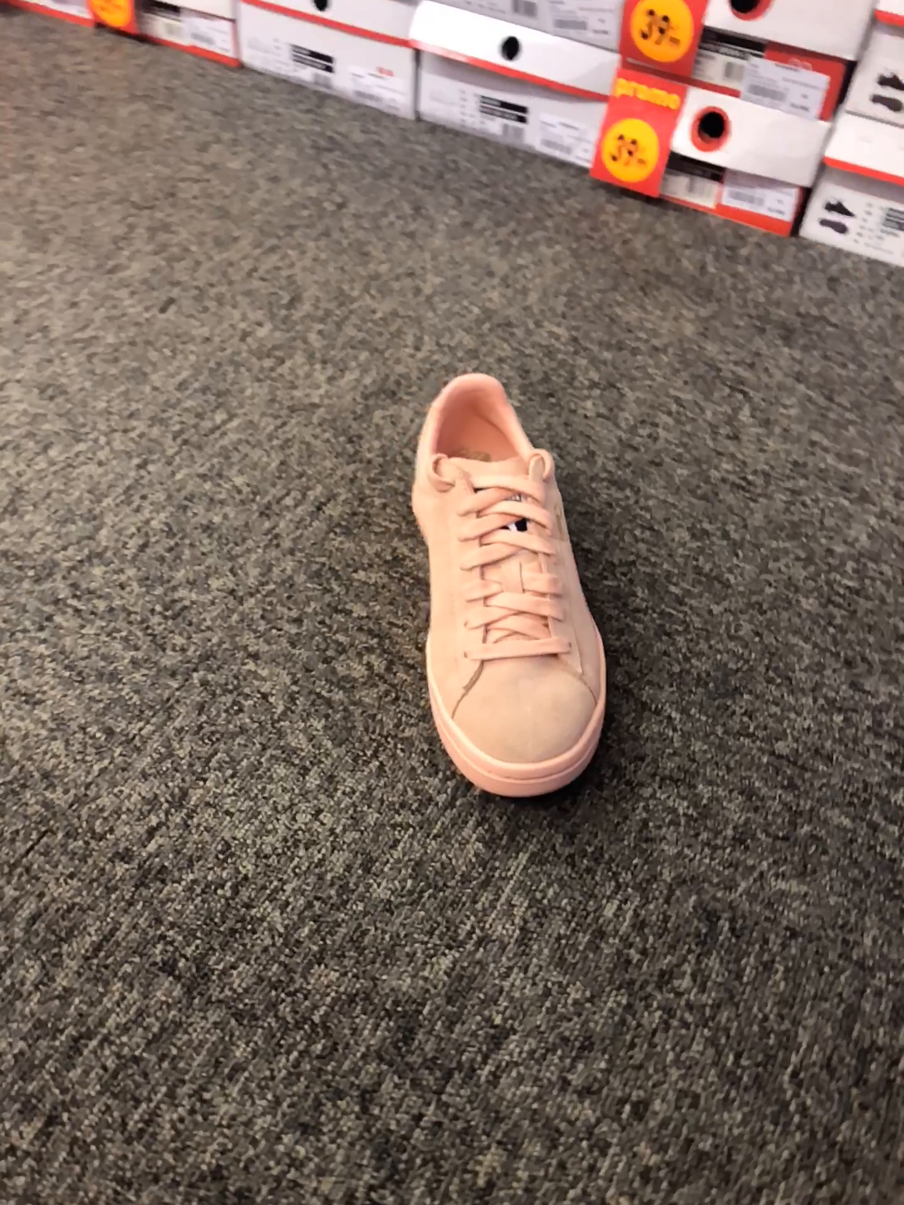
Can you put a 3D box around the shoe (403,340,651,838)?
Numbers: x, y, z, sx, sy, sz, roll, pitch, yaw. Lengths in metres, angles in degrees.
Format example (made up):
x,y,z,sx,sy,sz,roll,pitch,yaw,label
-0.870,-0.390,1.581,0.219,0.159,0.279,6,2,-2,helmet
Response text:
x,y,z,sx,sy,sz,roll,pitch,yaw,label
0.027,-0.016,0.525,0.092,0.090,0.254,-2,56,-5,shoe
